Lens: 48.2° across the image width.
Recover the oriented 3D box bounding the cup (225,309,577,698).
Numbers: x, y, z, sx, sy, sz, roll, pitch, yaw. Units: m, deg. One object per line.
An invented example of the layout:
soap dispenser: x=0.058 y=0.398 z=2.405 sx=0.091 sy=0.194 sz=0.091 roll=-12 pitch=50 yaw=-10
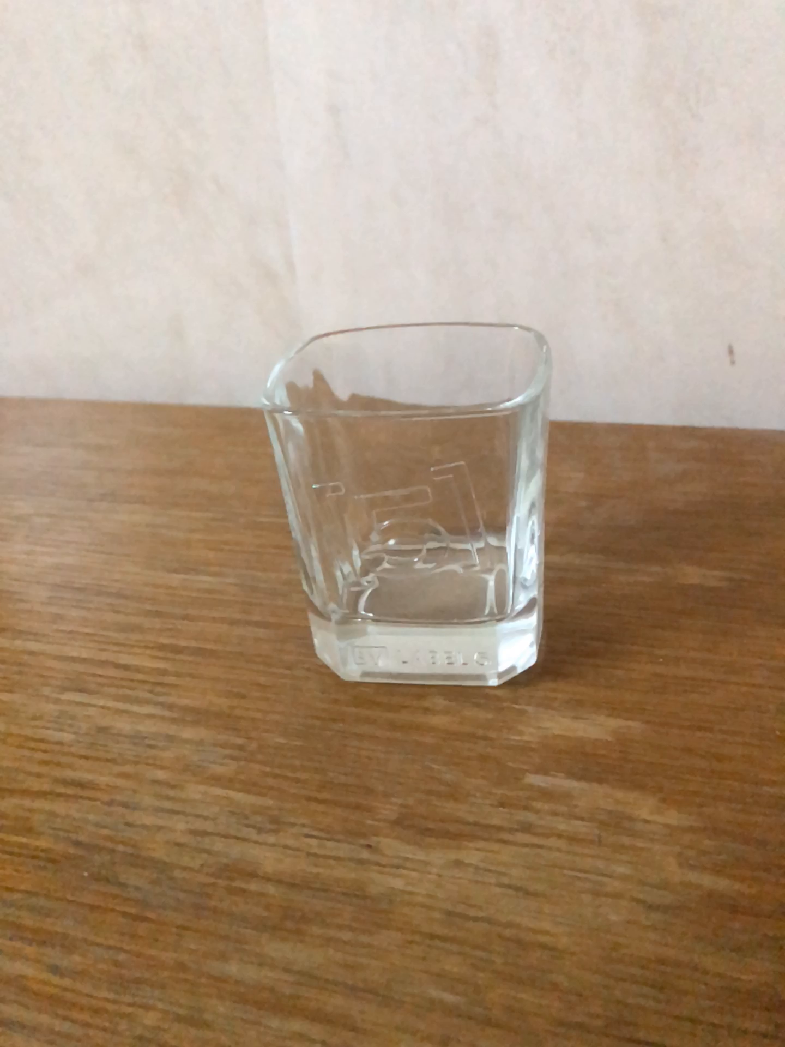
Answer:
cup: x=0.008 y=-0.009 z=0.219 sx=0.070 sy=0.070 sz=0.070 roll=-3 pitch=29 yaw=2
